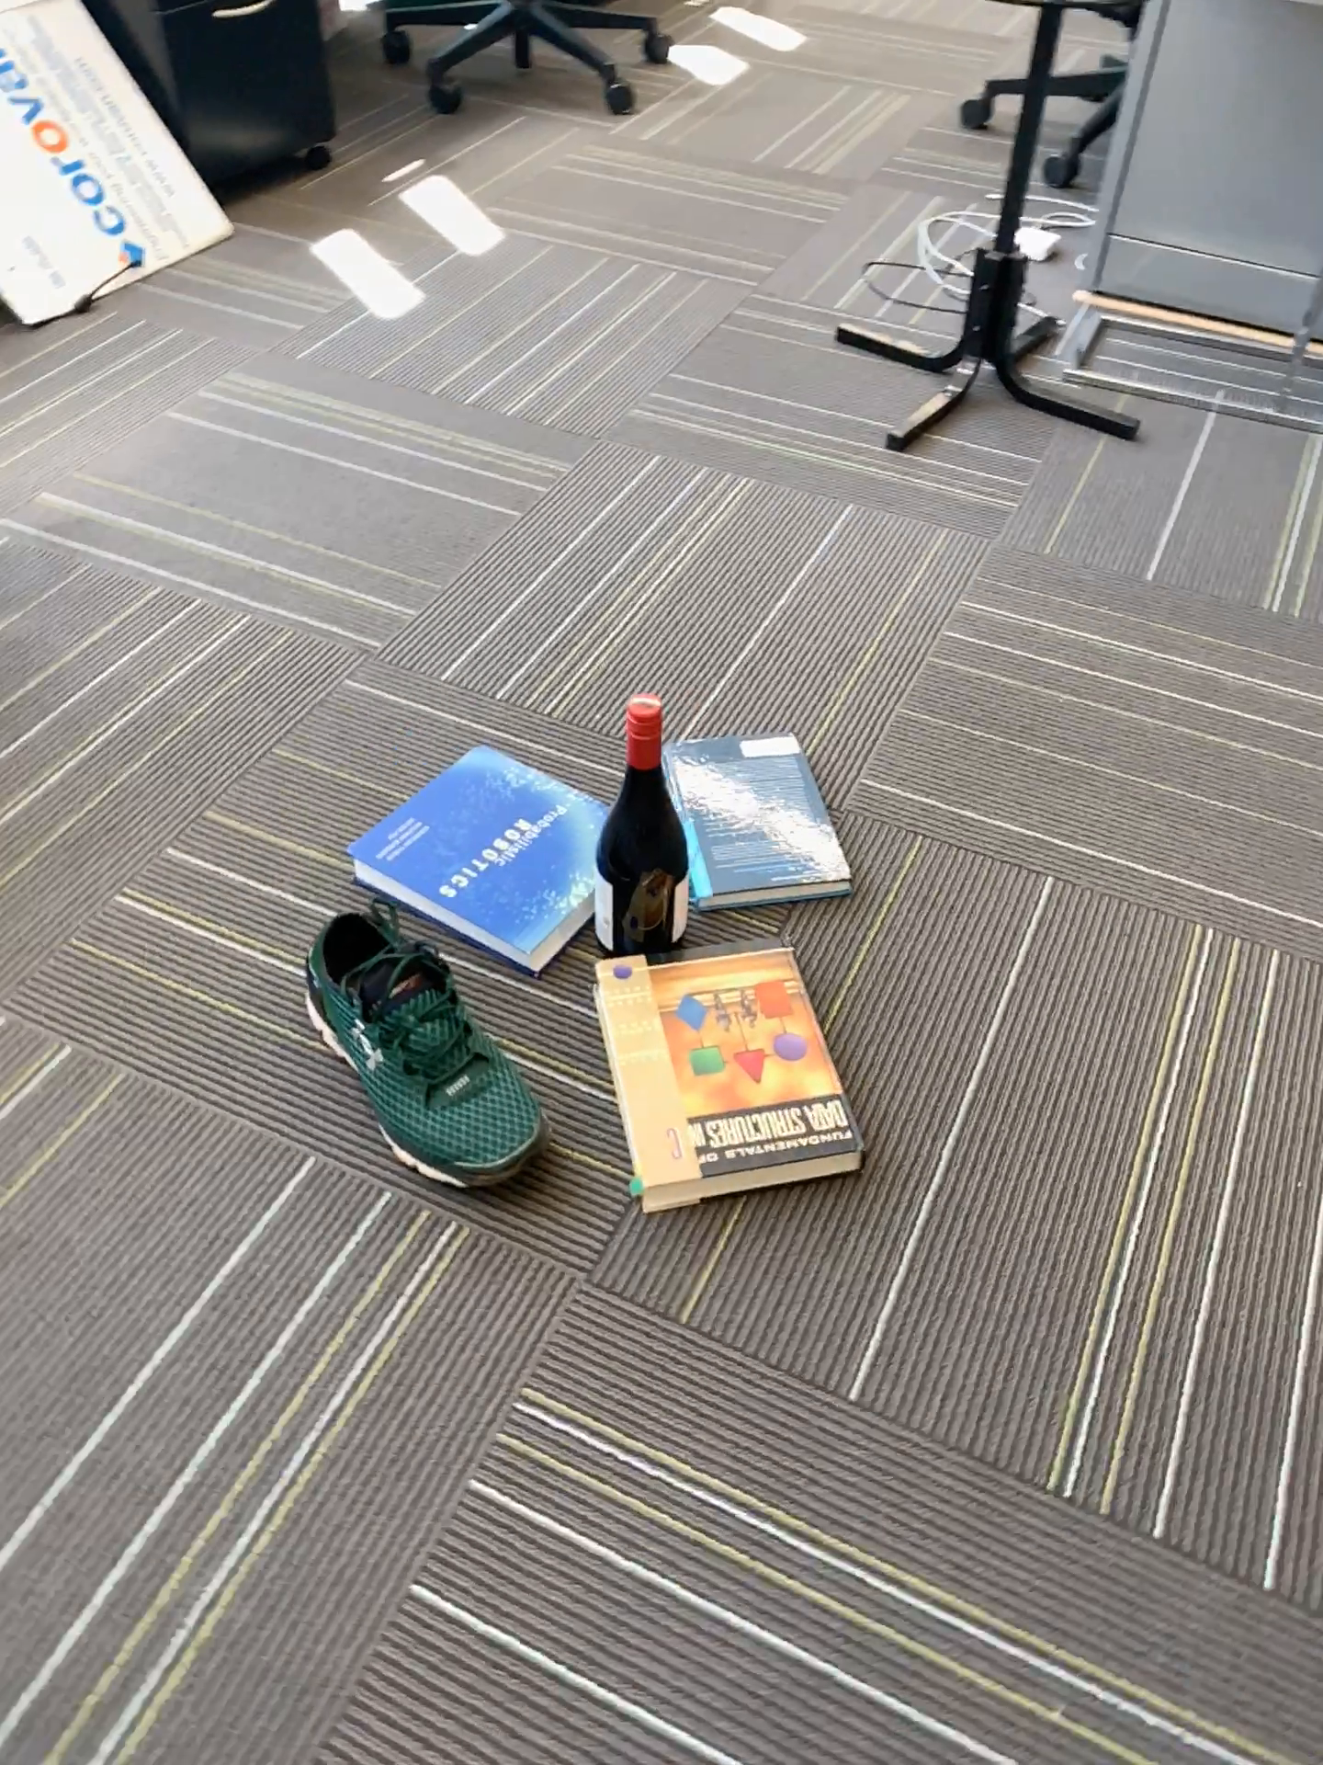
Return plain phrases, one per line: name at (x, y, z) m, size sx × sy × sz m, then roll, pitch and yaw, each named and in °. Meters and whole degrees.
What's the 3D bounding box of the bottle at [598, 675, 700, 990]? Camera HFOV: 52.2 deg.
bottle at (-0.015, -0.036, 1.194) m, size 0.080 × 0.298 × 0.091 m, roll 0°, pitch 46°, yaw -2°
